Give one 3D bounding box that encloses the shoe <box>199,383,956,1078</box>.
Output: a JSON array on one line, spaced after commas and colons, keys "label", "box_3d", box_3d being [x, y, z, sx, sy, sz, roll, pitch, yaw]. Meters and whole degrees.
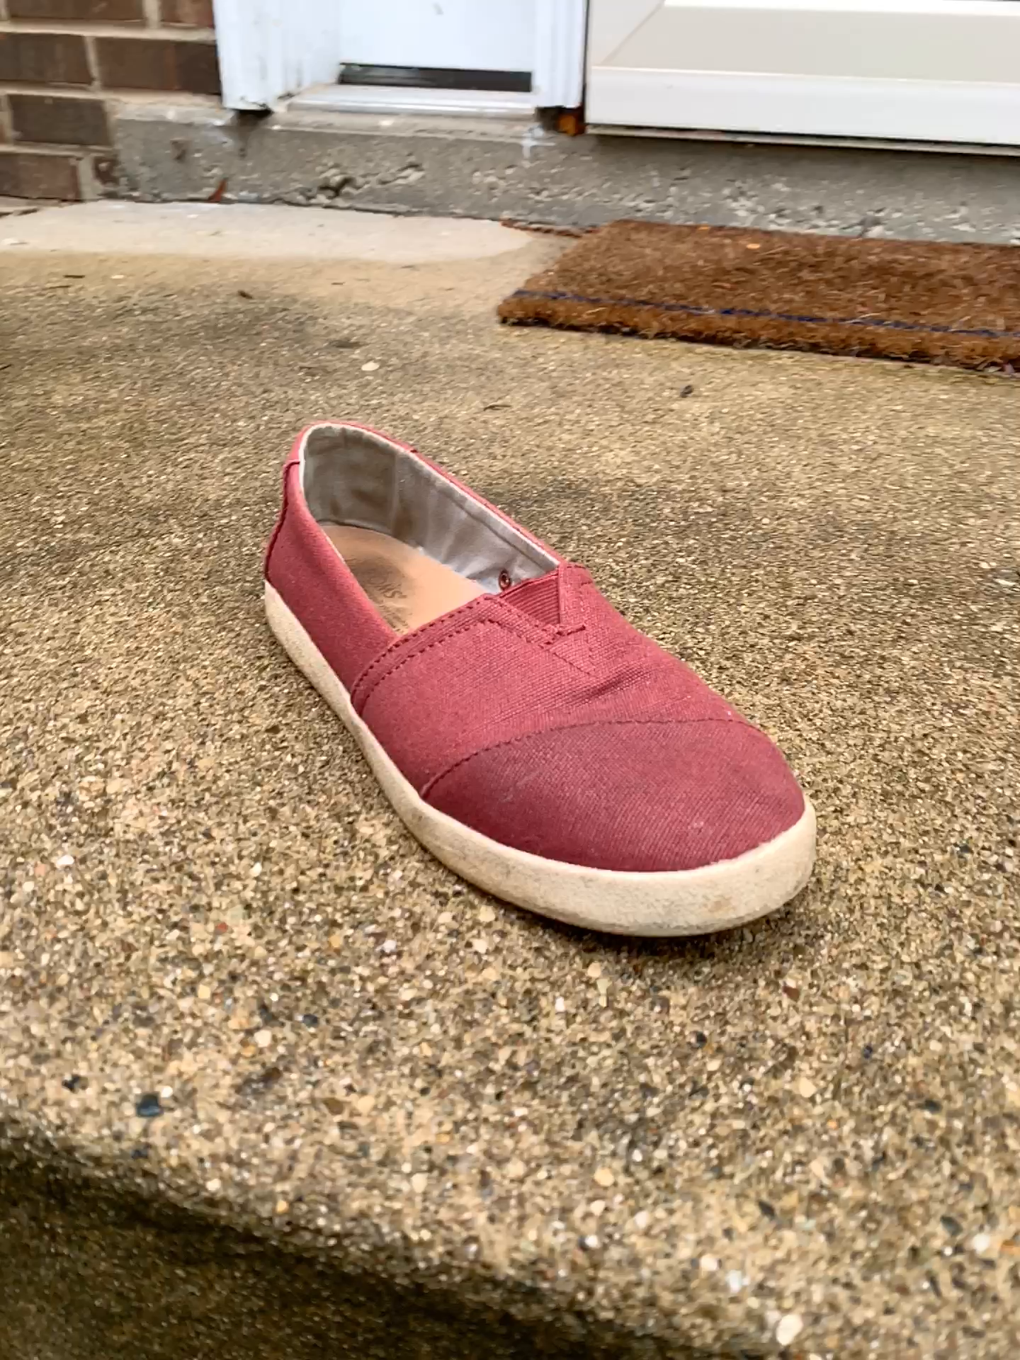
[{"label": "shoe", "box_3d": [-0.006, -0.014, 0.349, 0.098, 0.089, 0.266, -17, 36, -29]}]
